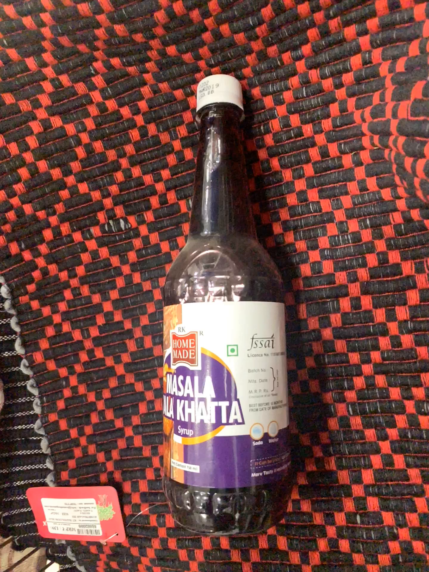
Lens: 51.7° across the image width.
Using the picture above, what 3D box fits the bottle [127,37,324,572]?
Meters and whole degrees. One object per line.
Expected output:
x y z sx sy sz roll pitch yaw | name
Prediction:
0.007 0.008 0.264 0.080 0.080 0.260 -6 80 28 | bottle
